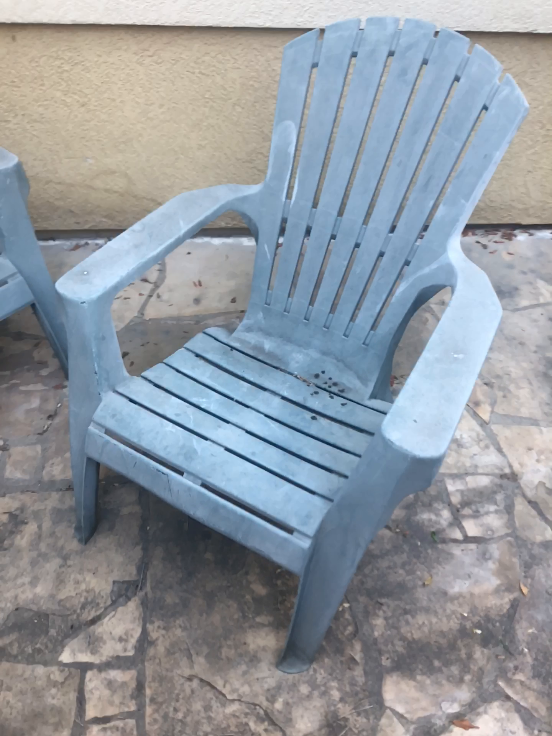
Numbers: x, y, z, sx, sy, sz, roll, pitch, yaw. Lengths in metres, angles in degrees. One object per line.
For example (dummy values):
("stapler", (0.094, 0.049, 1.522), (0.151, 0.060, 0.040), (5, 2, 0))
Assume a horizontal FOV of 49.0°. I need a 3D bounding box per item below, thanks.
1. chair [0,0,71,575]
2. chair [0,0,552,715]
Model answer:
("chair", (-1.252, -0.341, 1.504), (0.911, 1.220, 0.745), (25, 47, 30))
("chair", (0.033, -0.114, 1.183), (0.690, 0.882, 0.928), (23, 44, 19))
